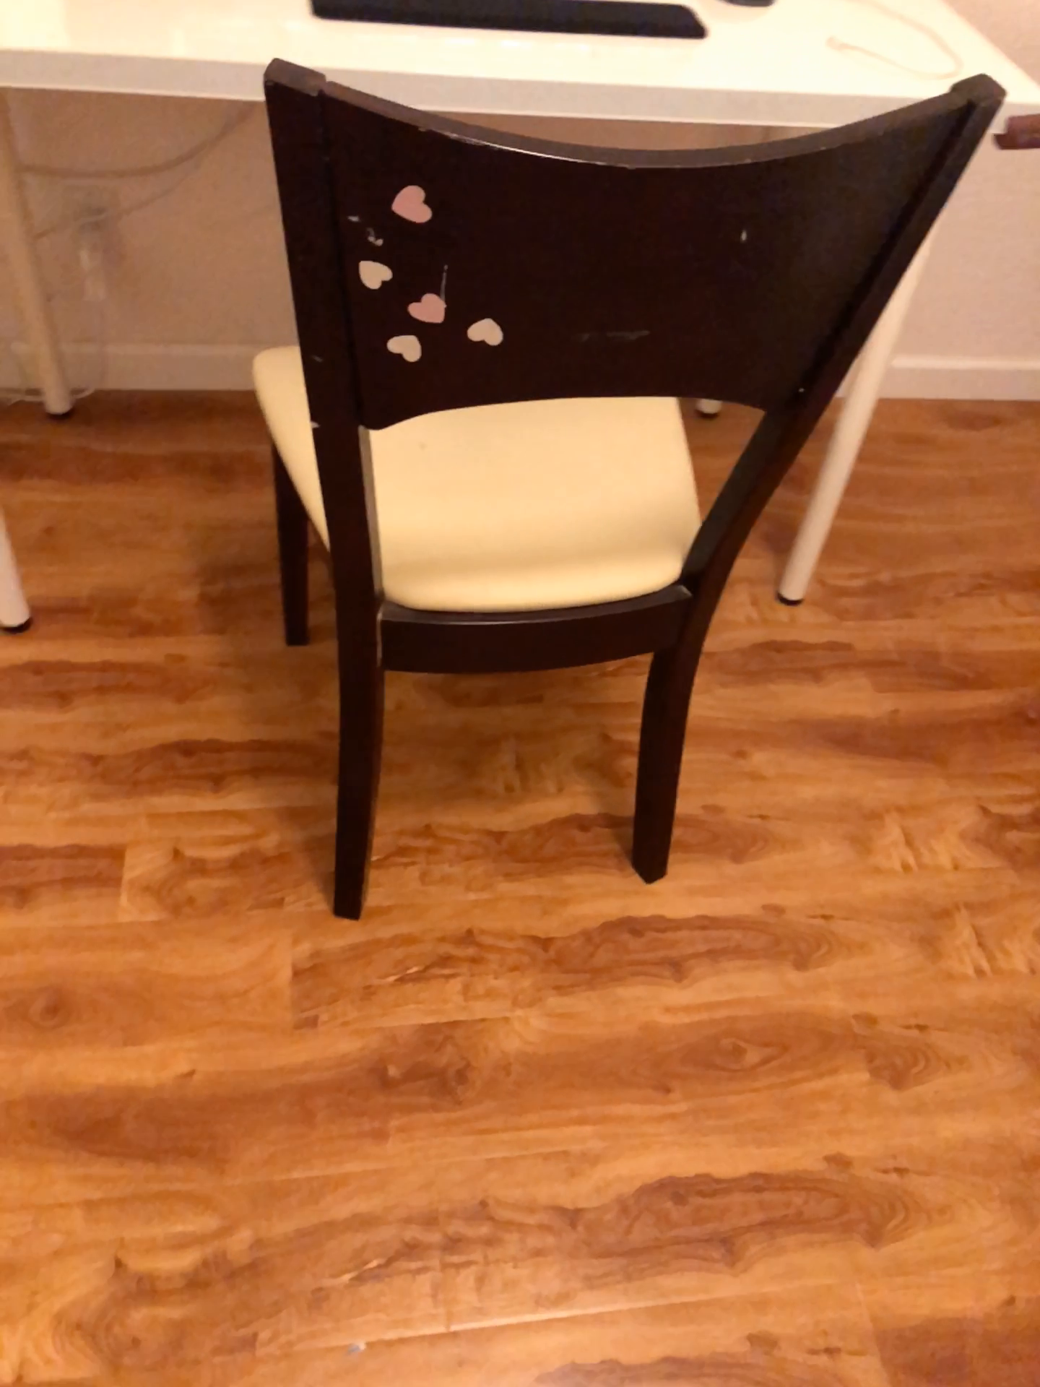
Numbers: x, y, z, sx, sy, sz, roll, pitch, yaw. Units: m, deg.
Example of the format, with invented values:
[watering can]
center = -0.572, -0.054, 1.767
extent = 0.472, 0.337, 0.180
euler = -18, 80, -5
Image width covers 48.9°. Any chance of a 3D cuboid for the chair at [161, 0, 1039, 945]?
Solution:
[chair]
center = -0.001, -0.237, 1.081
extent = 0.530, 0.845, 0.513
euler = -6, 51, -14
